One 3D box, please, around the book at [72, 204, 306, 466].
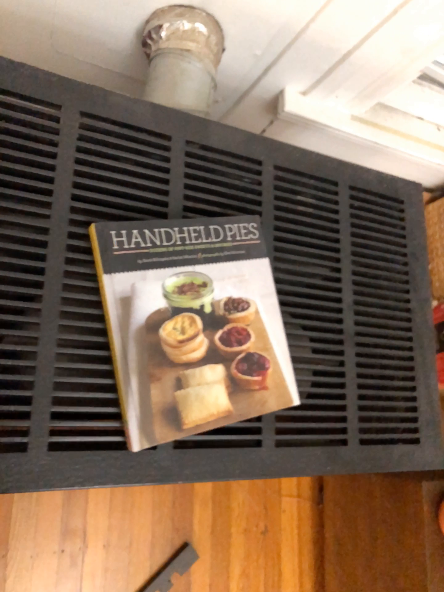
[{"bbox_3d":[-0.027,0.024,0.496,0.200,0.020,0.230,-8,82,-28],"label":"book"}]
